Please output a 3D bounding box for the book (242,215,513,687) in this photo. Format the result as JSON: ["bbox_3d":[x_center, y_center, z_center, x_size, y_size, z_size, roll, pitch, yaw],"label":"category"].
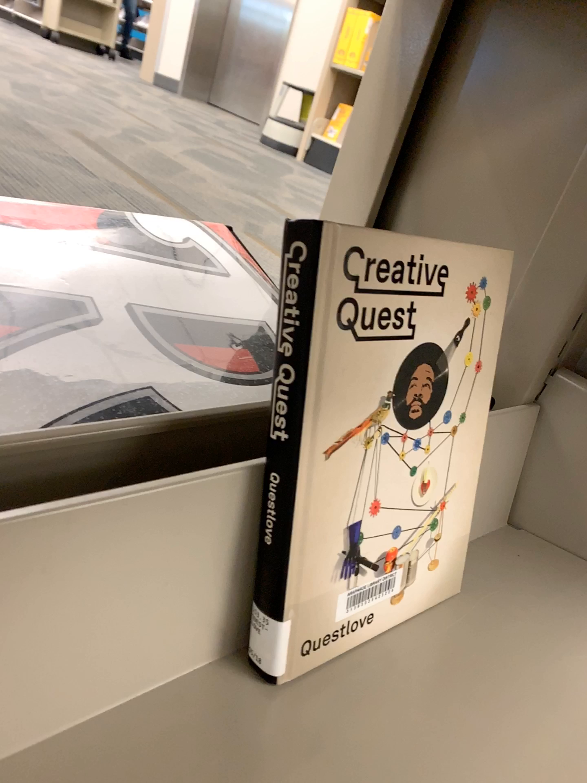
[{"bbox_3d":[0.052,0.026,0.338,0.160,0.223,0.031,-6,15,-42],"label":"book"}]
